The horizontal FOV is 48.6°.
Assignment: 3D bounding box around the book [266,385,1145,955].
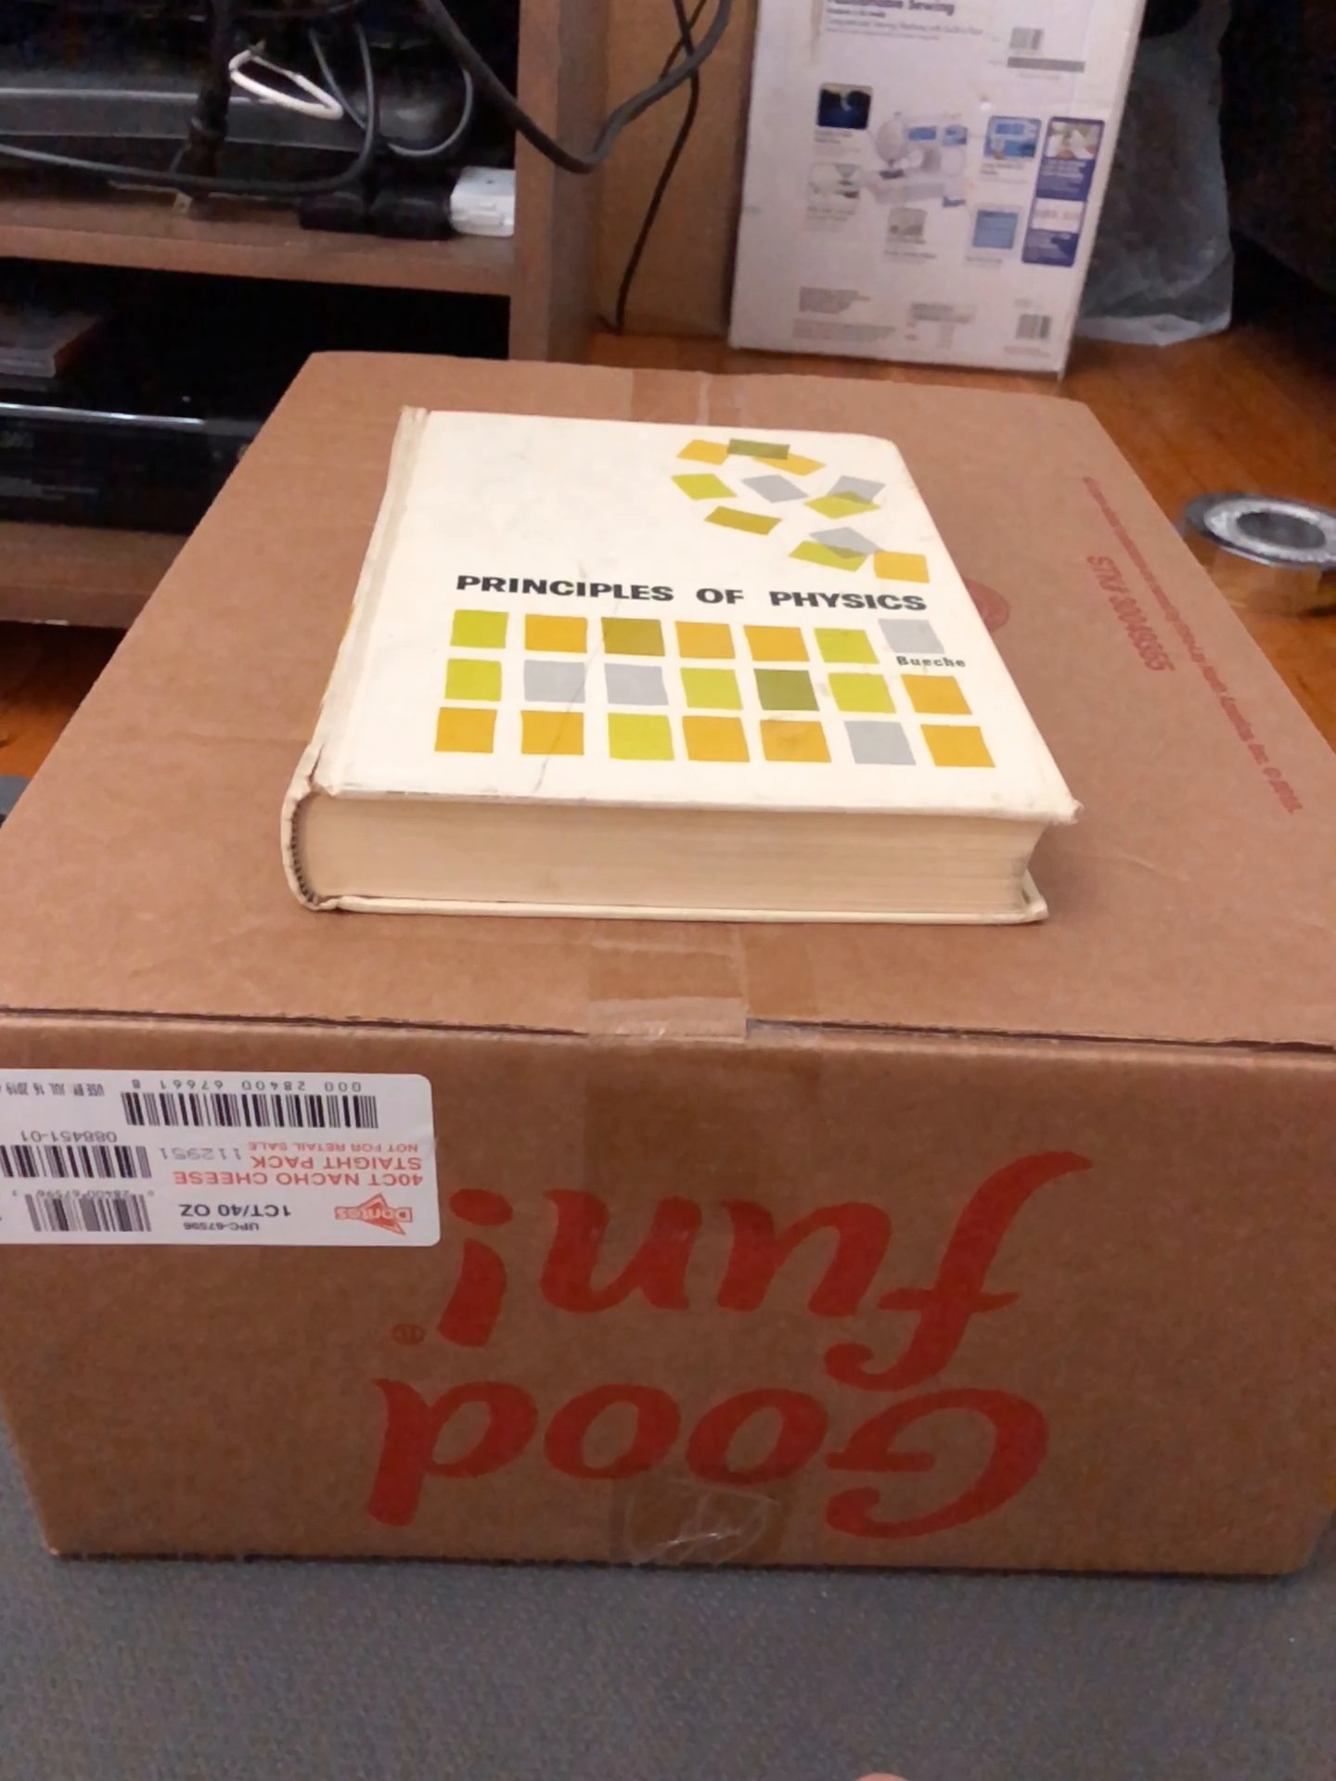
[{"bbox_3d":[0.004,-0.078,0.415,0.180,0.040,0.251,2,36,-3],"label":"book"}]
